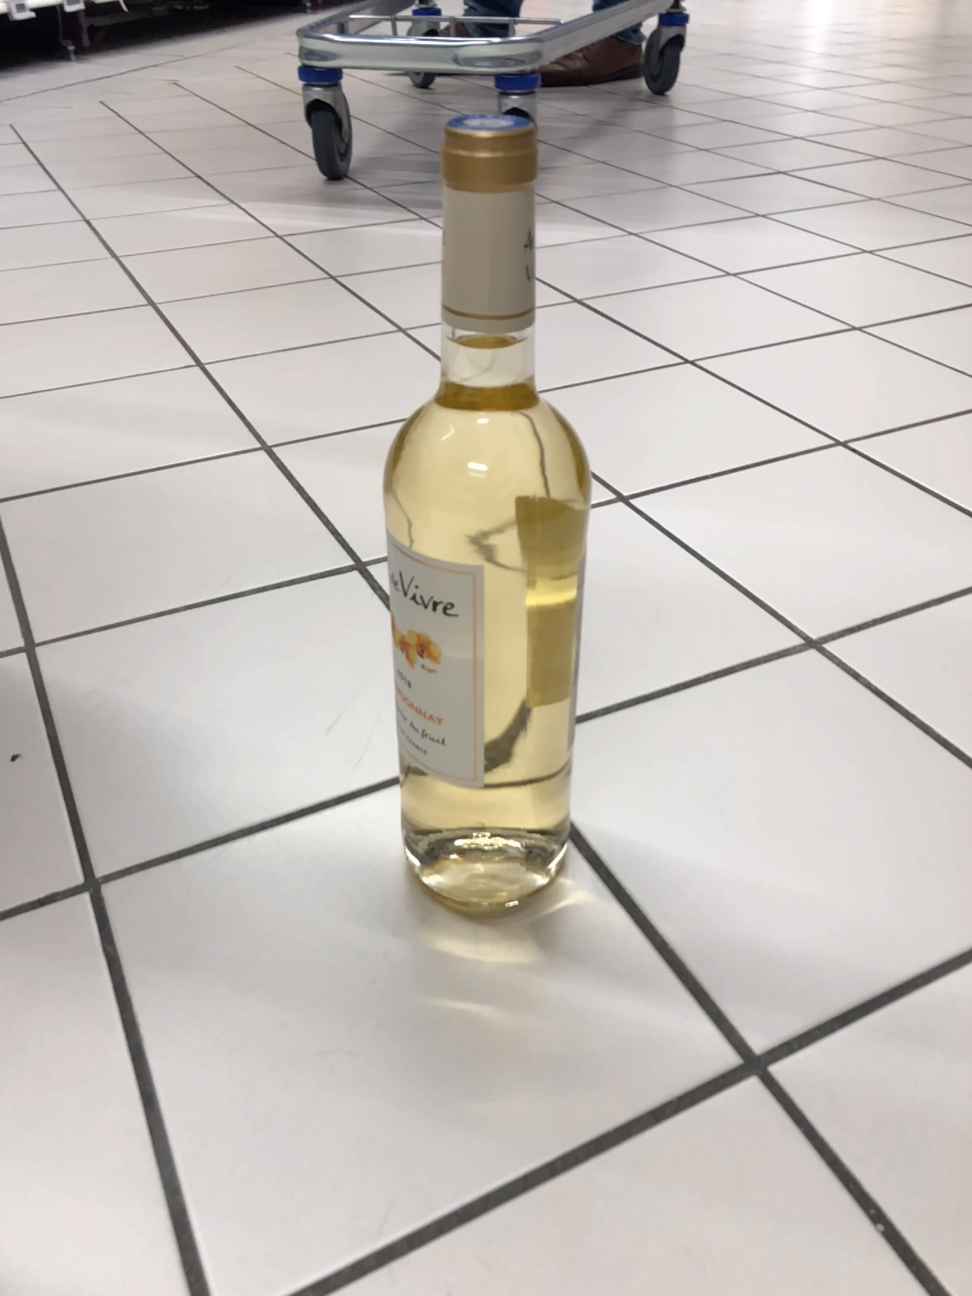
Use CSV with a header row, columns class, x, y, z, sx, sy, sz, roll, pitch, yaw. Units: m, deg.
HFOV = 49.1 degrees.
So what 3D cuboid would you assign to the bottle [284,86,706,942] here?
class,x,y,z,sx,sy,sz,roll,pitch,yaw
bottle,0.001,-0.037,0.393,0.090,0.288,0.090,0,35,0
